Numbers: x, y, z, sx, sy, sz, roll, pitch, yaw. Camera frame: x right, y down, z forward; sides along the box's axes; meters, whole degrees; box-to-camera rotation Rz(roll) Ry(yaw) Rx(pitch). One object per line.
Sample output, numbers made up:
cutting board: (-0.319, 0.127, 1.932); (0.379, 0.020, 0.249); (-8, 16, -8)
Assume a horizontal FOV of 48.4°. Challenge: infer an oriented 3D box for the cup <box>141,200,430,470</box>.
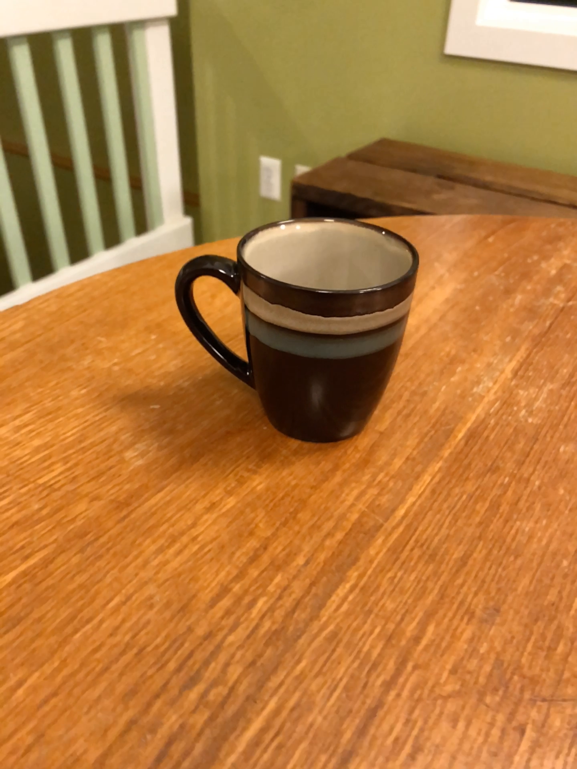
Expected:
cup: (0.003, -0.033, 0.354); (0.125, 0.093, 0.099); (10, 36, 12)
